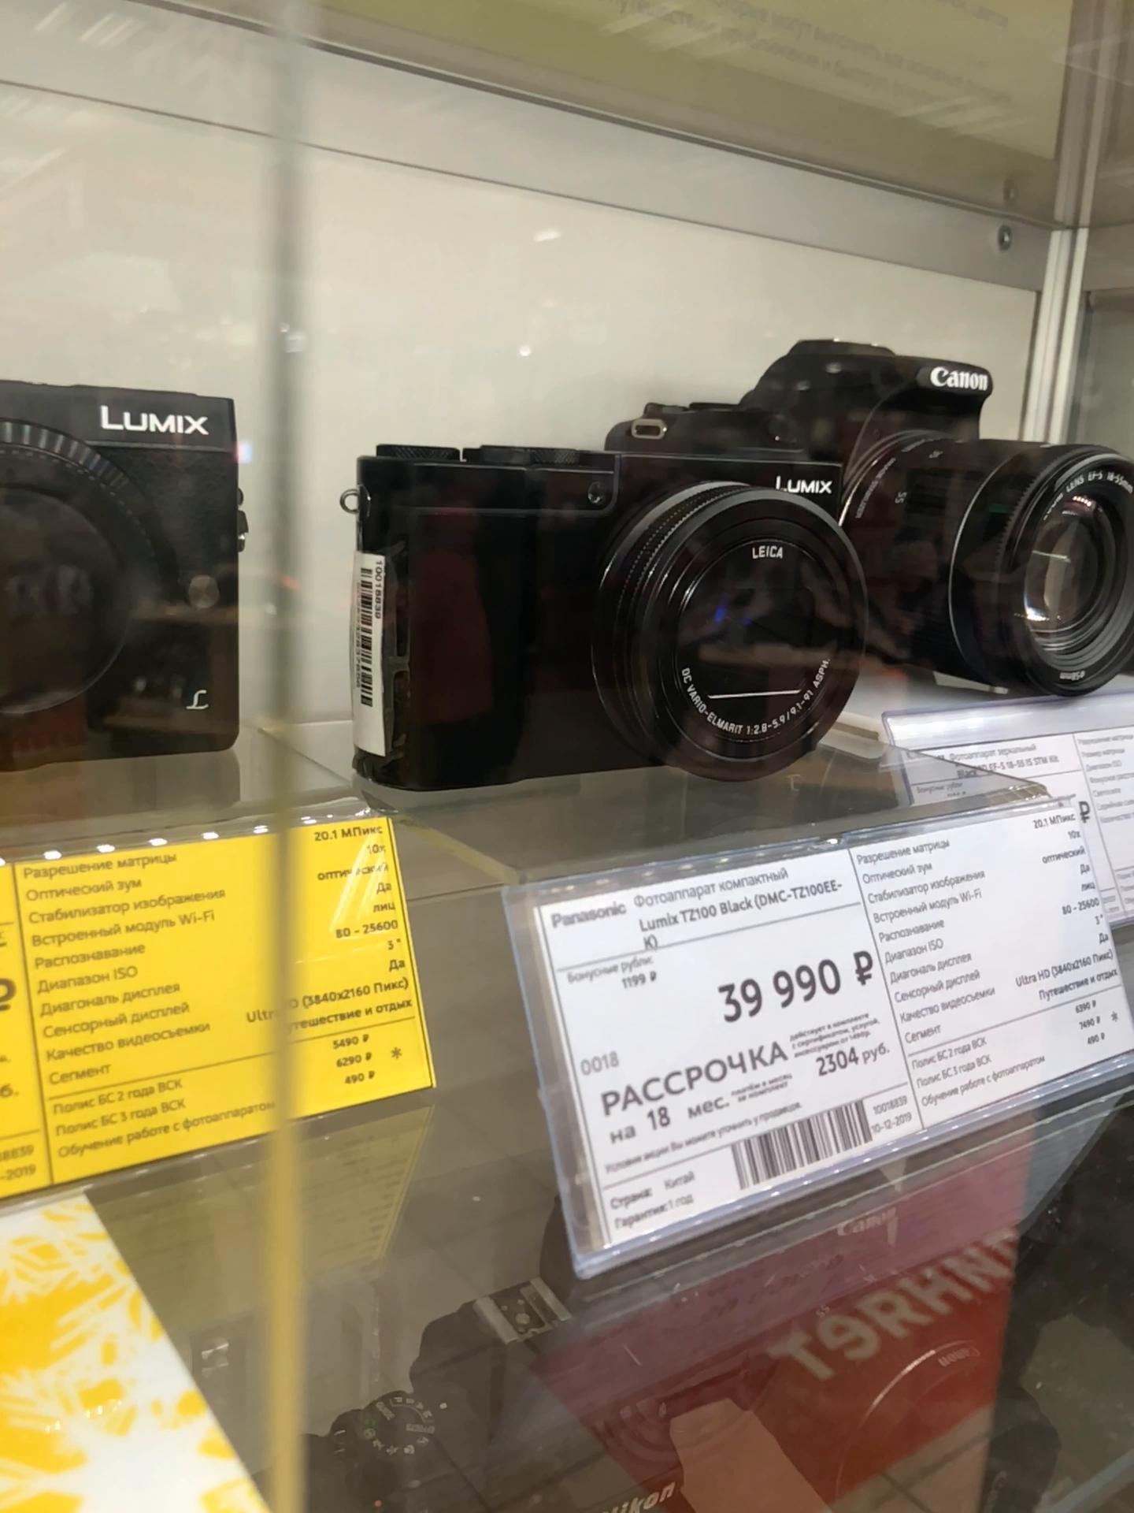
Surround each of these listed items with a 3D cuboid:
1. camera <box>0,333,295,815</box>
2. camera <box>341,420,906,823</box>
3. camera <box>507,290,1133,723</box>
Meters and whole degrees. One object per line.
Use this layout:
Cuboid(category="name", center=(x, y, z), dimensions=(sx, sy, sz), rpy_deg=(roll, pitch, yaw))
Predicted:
Cuboid(category="camera", center=(-0.112, -0.035, 0.231), dimensions=(0.108, 0.068, 0.055), rpy_deg=(-5, 16, -33))
Cuboid(category="camera", center=(0.013, -0.030, 0.260), dimensions=(0.111, 0.068, 0.038), rpy_deg=(-6, 16, -33))
Cuboid(category="camera", center=(0.093, -0.084, 0.401), dimensions=(0.157, 0.099, 0.164), rpy_deg=(-5, 18, -33))
